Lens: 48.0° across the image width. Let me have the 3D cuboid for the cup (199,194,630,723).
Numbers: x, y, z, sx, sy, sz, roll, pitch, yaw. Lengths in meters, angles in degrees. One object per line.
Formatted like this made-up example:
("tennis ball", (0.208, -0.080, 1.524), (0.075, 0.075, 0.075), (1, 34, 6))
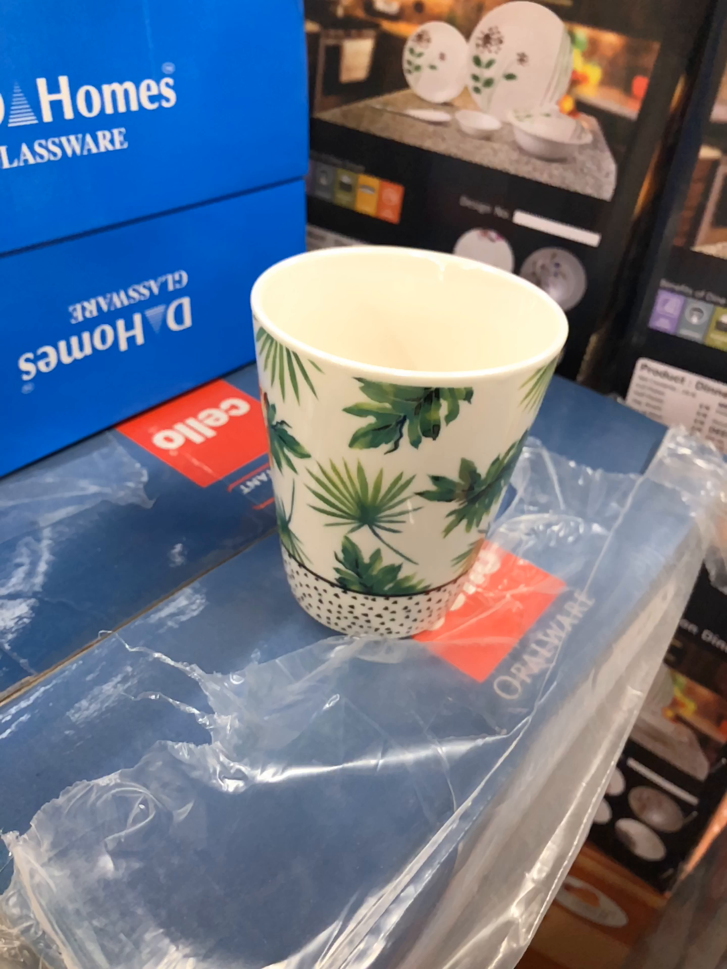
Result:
("cup", (0.017, -0.017, 0.256), (0.080, 0.099, 0.121), (21, 39, 16))
